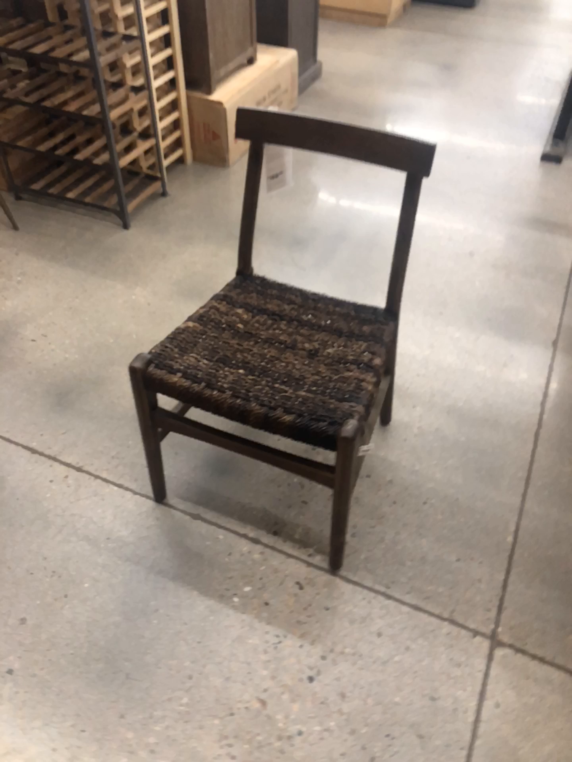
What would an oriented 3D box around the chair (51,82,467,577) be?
[{"bbox_3d":[-0.021,-0.097,1.389,0.548,0.816,0.535,18,47,16],"label":"chair"}]
